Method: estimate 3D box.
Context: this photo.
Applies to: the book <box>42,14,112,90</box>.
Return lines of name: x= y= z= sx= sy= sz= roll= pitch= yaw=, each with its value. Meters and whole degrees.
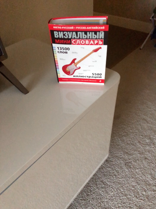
book: x=0.004 y=-0.128 z=0.452 sx=0.150 sy=0.179 sz=0.060 roll=2 pitch=44 yaw=6
